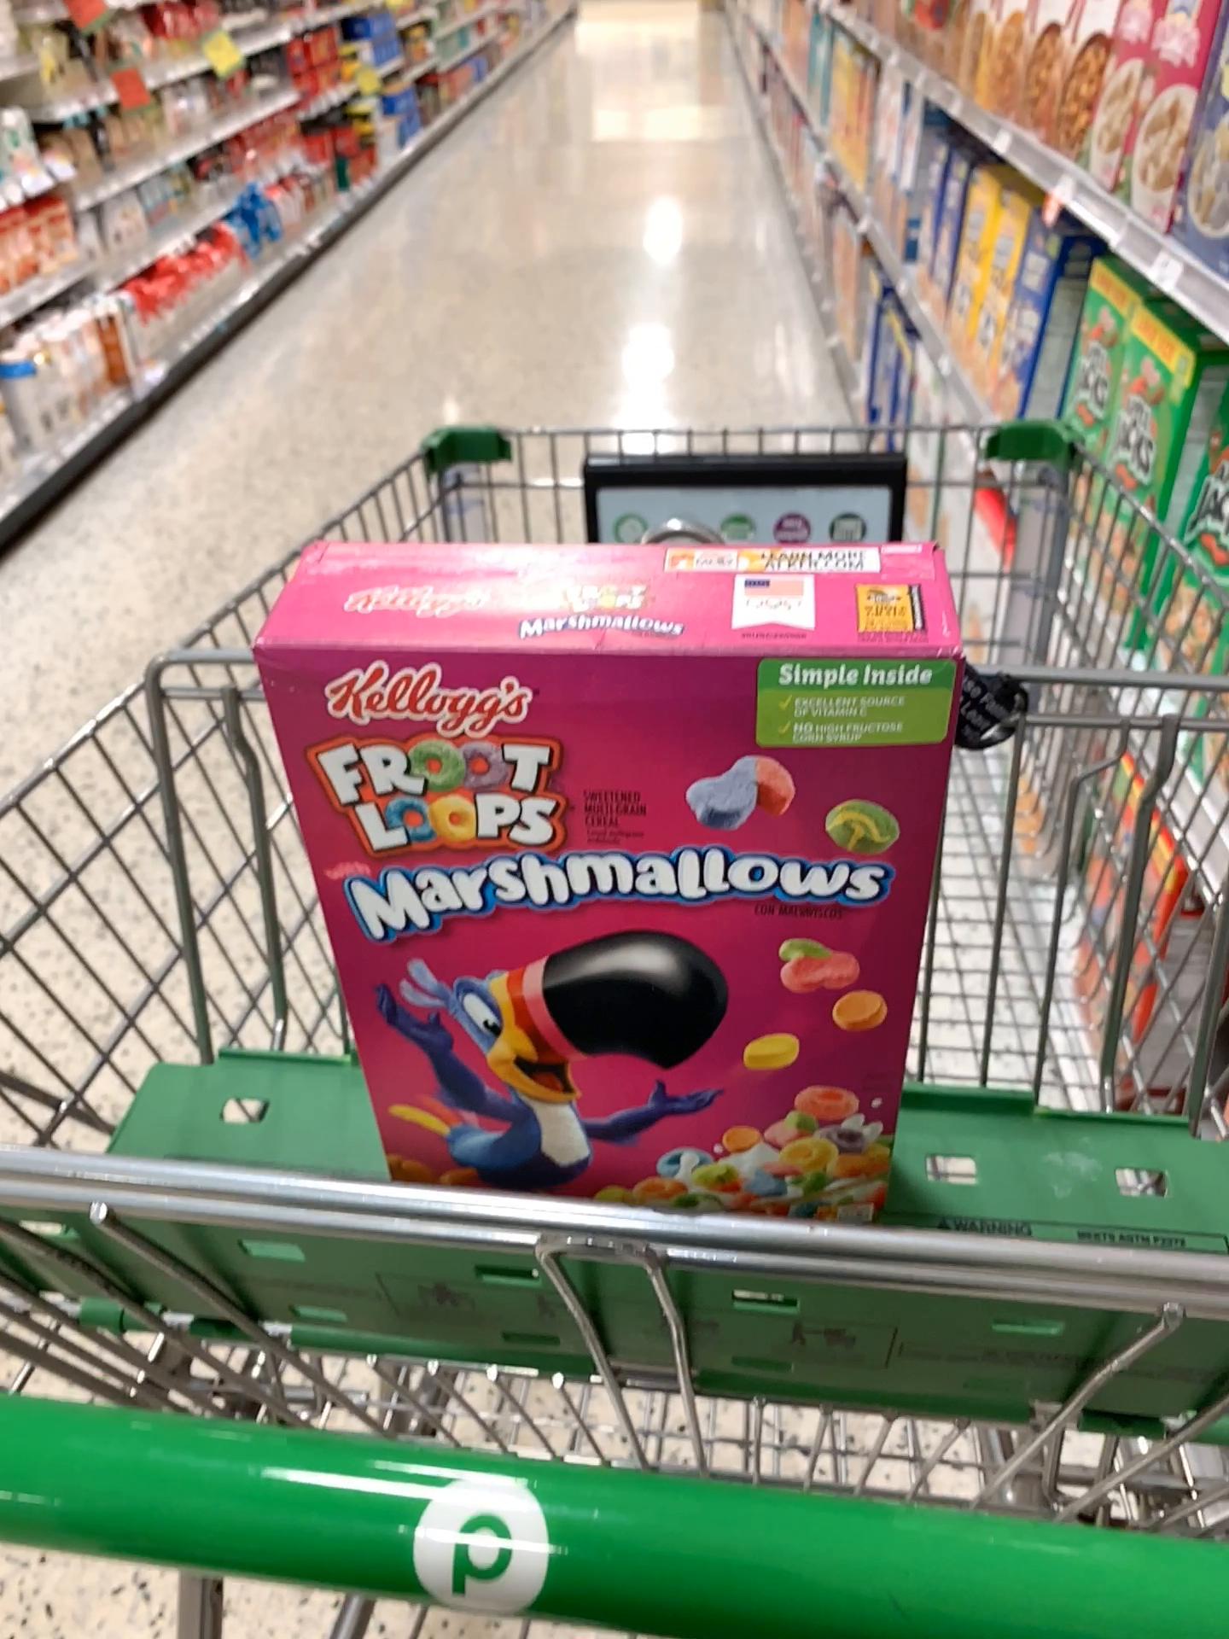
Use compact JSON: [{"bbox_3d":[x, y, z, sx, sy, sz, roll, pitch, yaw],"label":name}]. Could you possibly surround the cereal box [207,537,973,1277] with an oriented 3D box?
[{"bbox_3d":[0.001,0.047,0.444,0.200,0.287,0.061,2,40,7],"label":"cereal box"}]
